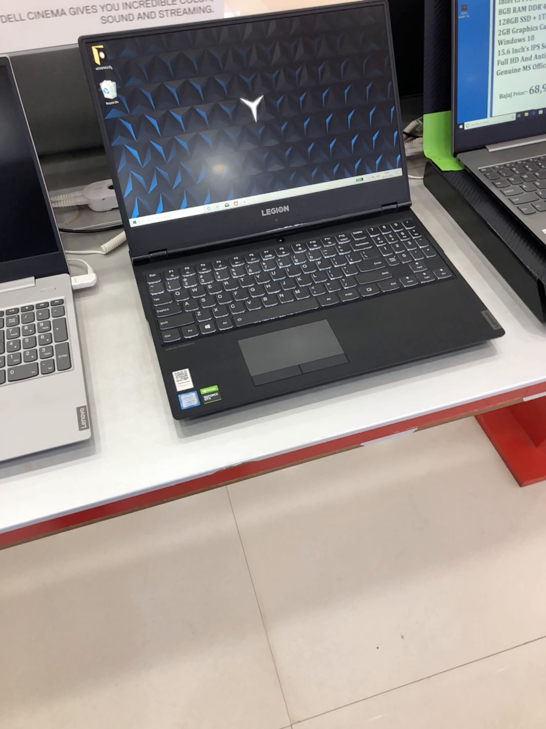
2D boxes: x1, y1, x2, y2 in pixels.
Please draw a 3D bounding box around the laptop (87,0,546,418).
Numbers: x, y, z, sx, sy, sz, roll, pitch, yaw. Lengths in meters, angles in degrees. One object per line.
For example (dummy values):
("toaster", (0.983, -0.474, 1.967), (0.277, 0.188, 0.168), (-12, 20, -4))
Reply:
("laptop", (0.023, -0.182, 0.608), (0.334, 0.191, 0.349), (-14, 51, -12))
